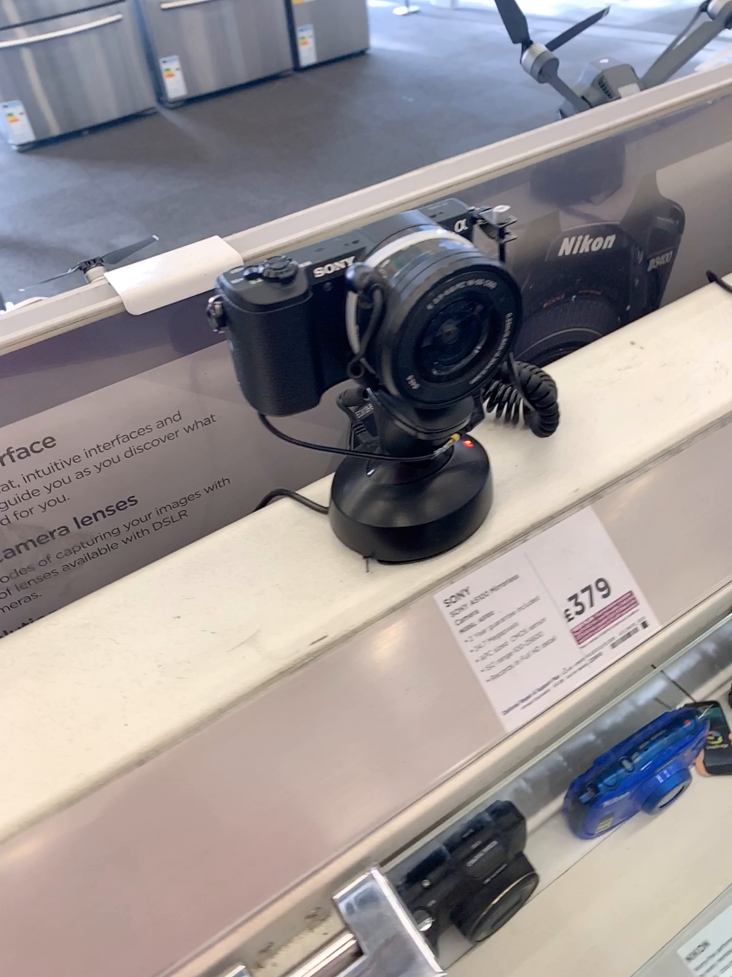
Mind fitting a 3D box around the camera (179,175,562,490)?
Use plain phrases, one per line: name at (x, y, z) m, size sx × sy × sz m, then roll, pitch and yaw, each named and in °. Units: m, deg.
camera at (0.002, -0.068, 0.303) m, size 0.120 × 0.059 × 0.081 m, roll -25°, pitch 46°, yaw -18°
